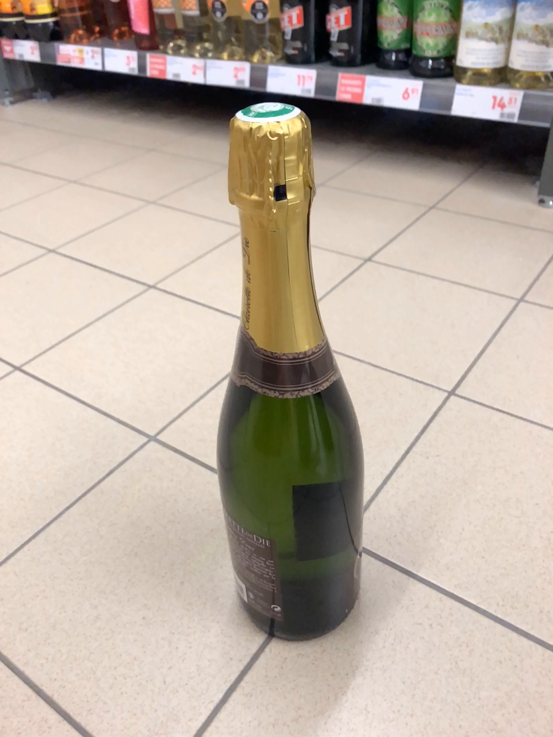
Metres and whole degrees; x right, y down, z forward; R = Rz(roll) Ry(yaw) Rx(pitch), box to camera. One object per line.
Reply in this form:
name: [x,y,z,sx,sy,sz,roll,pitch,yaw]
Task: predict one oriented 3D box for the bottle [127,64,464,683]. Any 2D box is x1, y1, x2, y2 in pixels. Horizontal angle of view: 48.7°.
bottle: [0.009,0.025,0.330,0.100,0.318,0.100,-2,36,2]
